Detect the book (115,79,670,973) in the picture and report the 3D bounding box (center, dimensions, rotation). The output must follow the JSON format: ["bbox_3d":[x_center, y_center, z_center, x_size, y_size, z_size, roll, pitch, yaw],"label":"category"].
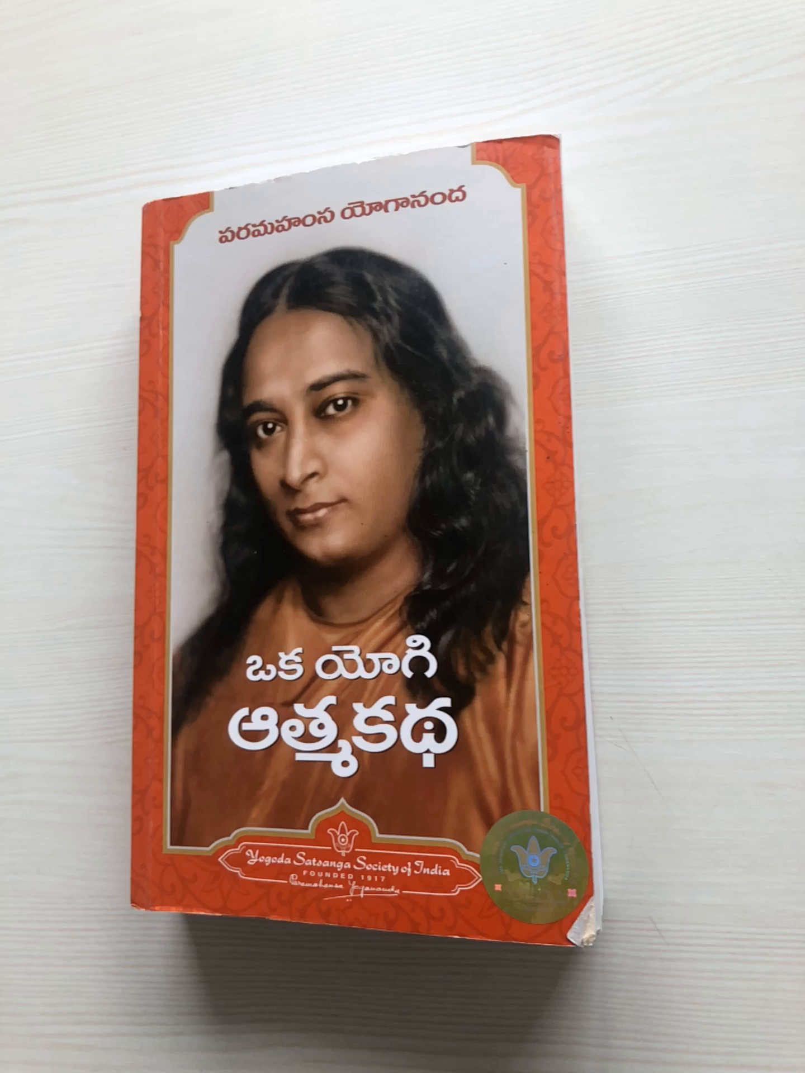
[{"bbox_3d":[-0.005,-0.005,0.269,0.150,0.040,0.233,-3,81,15],"label":"book"}]
